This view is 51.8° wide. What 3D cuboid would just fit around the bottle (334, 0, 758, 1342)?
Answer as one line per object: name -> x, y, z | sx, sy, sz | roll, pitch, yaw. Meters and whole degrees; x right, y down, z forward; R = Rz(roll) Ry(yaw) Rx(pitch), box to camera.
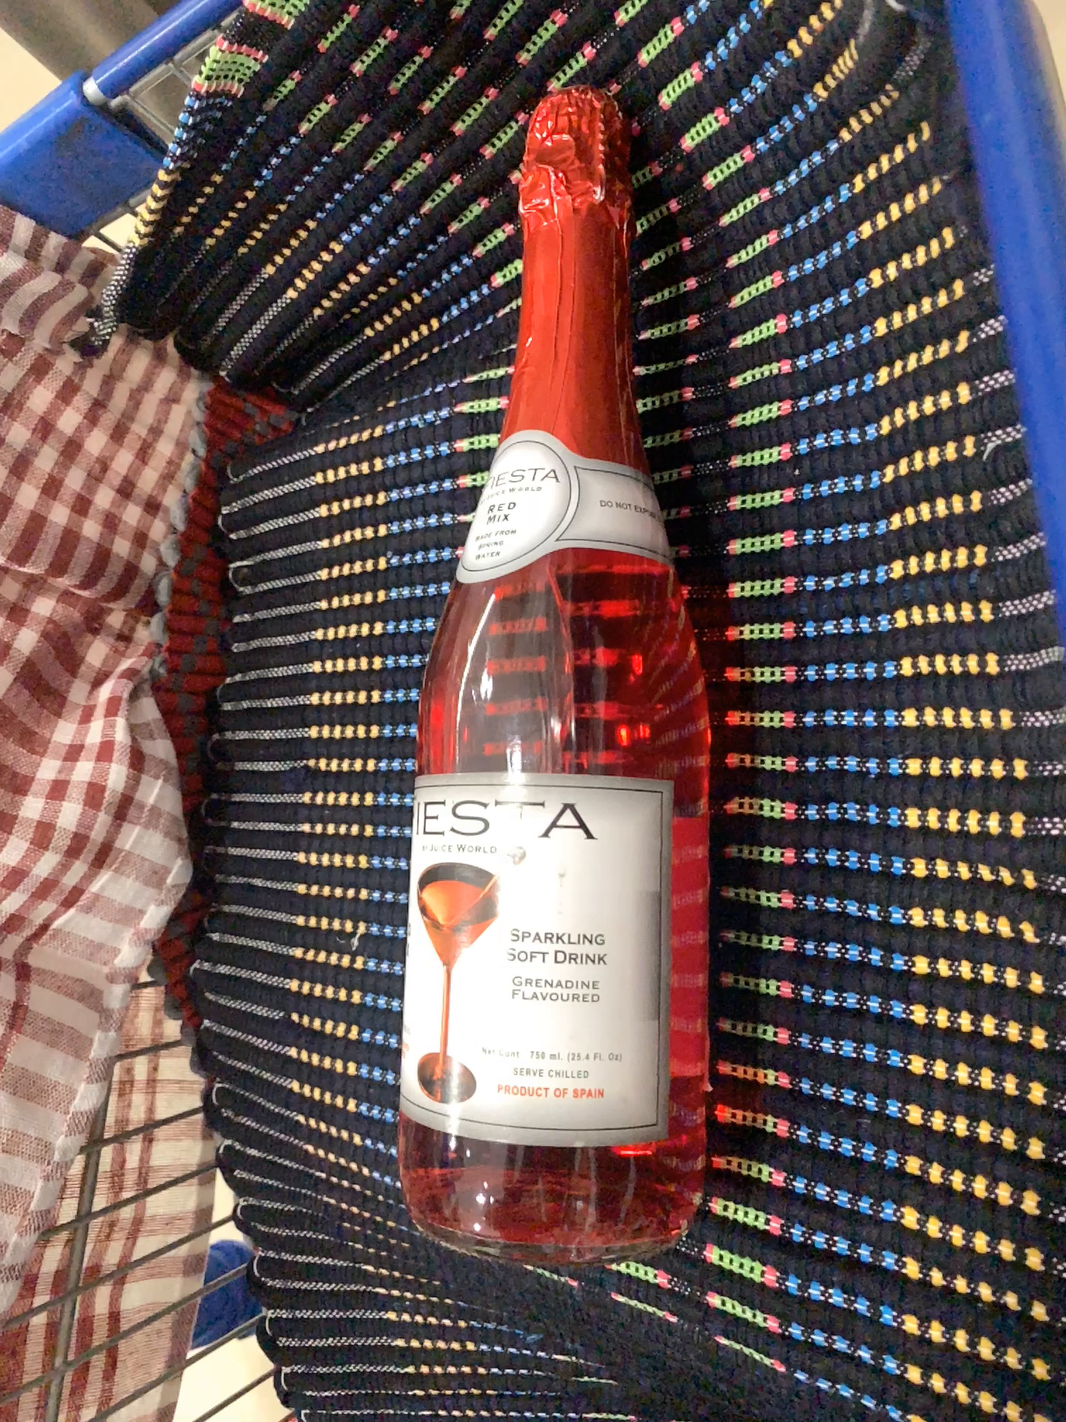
bottle -> 0.005, -0.016, 0.301 | 0.080, 0.070, 0.310 | -9, 76, 44
